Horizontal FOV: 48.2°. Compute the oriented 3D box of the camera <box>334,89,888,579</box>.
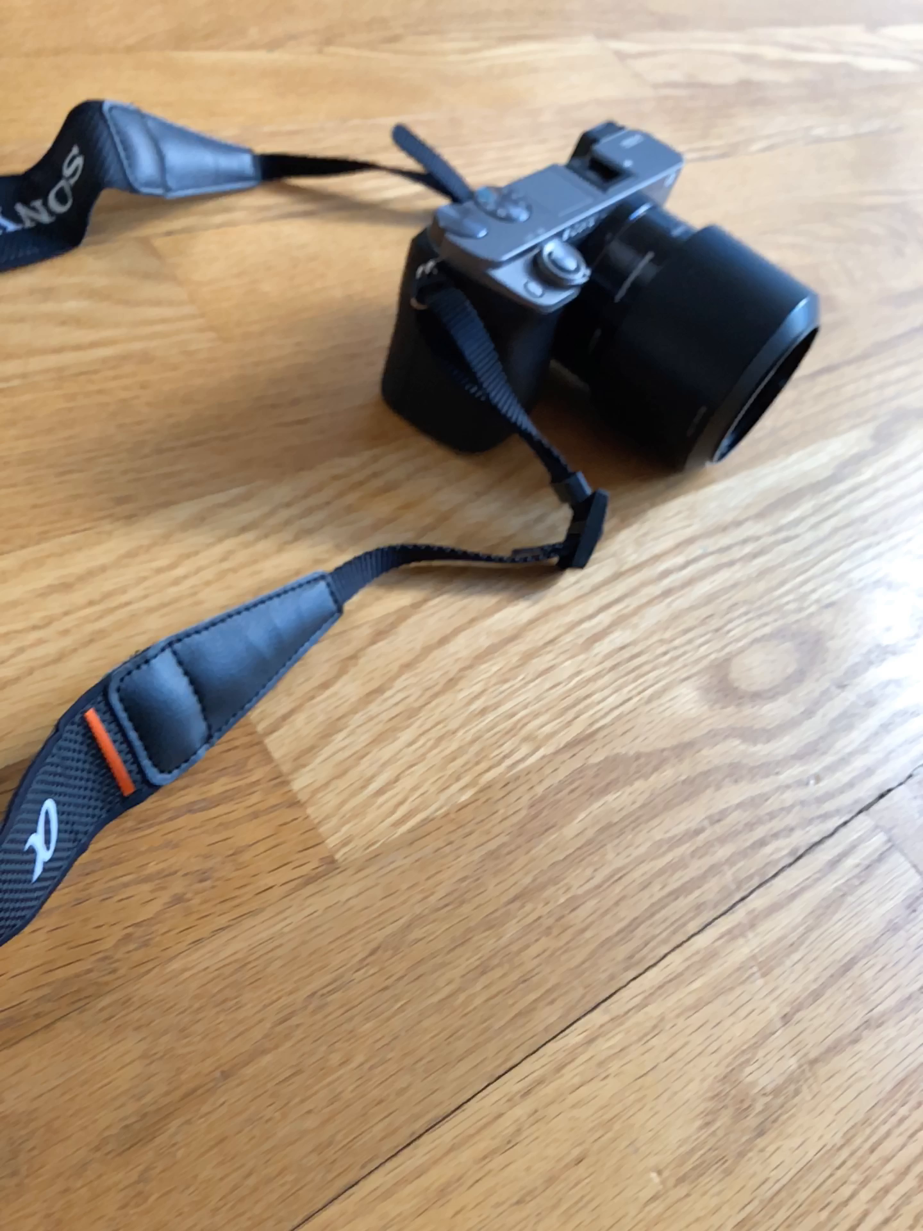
[{"bbox_3d":[0.051,-0.099,0.336,0.110,0.060,0.141,39,51,12],"label":"camera"}]
